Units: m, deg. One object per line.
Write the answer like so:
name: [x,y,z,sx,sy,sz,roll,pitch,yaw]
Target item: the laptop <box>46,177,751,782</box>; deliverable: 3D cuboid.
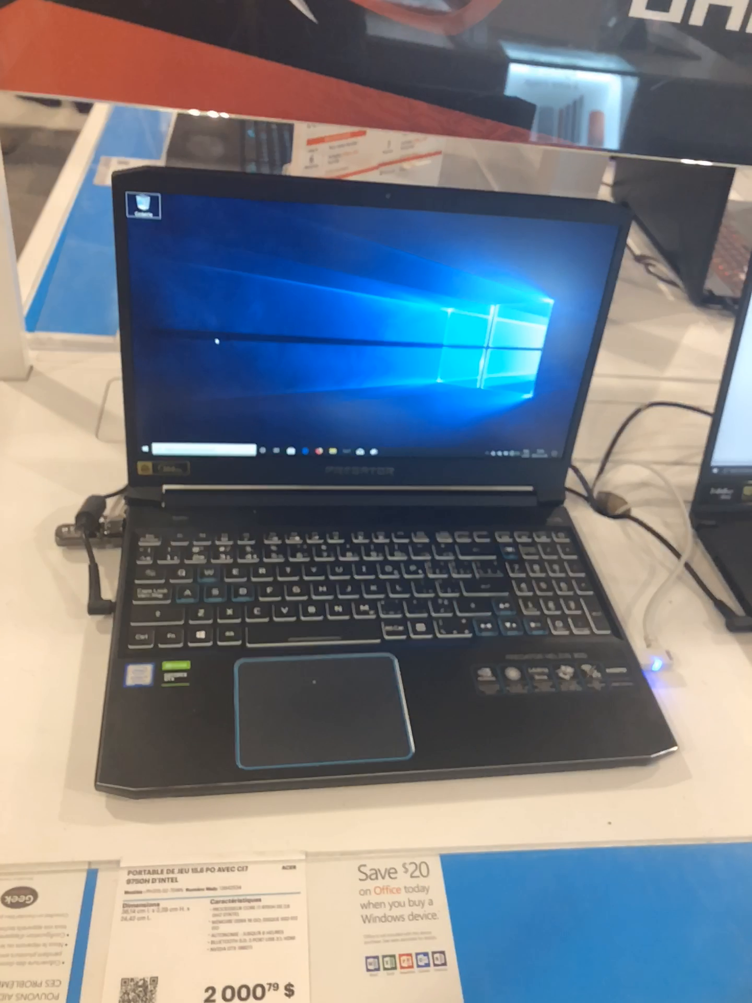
laptop: [0.014,-0.024,0.522,0.348,0.230,0.274,0,42,-10]
